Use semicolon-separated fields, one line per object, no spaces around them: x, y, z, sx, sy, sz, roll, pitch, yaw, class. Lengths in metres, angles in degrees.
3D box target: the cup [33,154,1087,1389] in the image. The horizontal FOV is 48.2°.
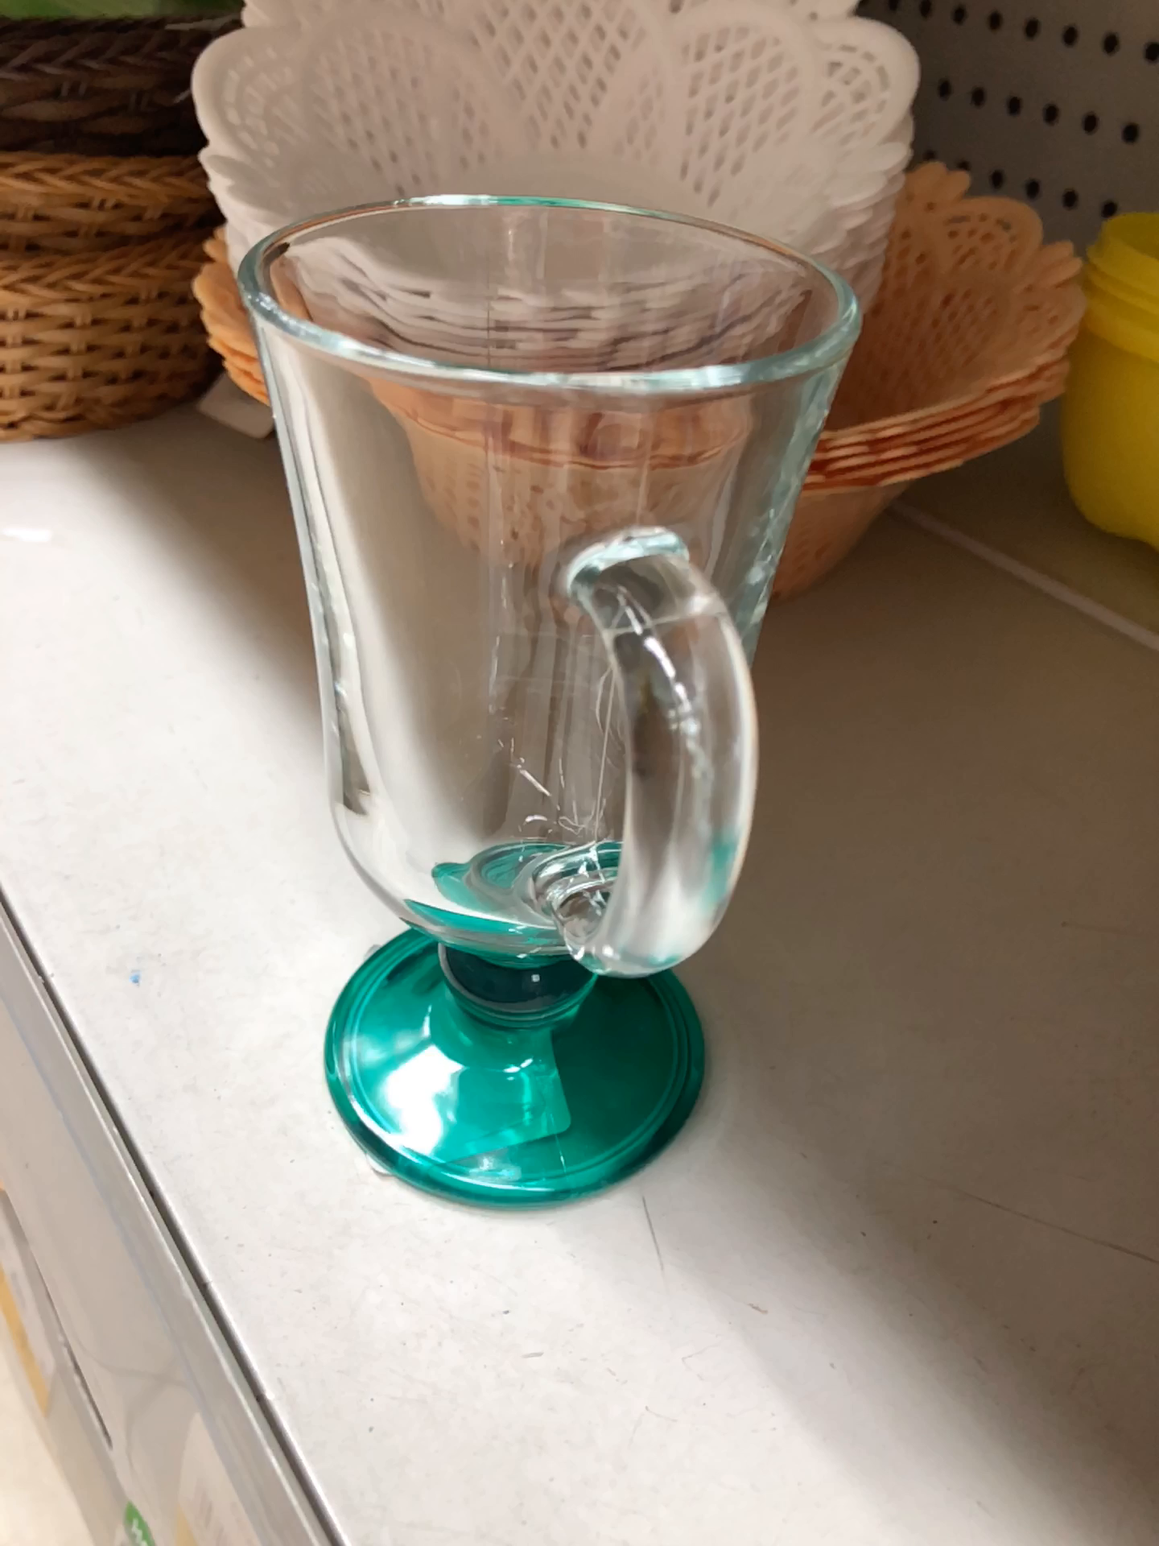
-0.014;-0.010;0.182;0.085;0.118;0.108;-13;37;-20;cup
